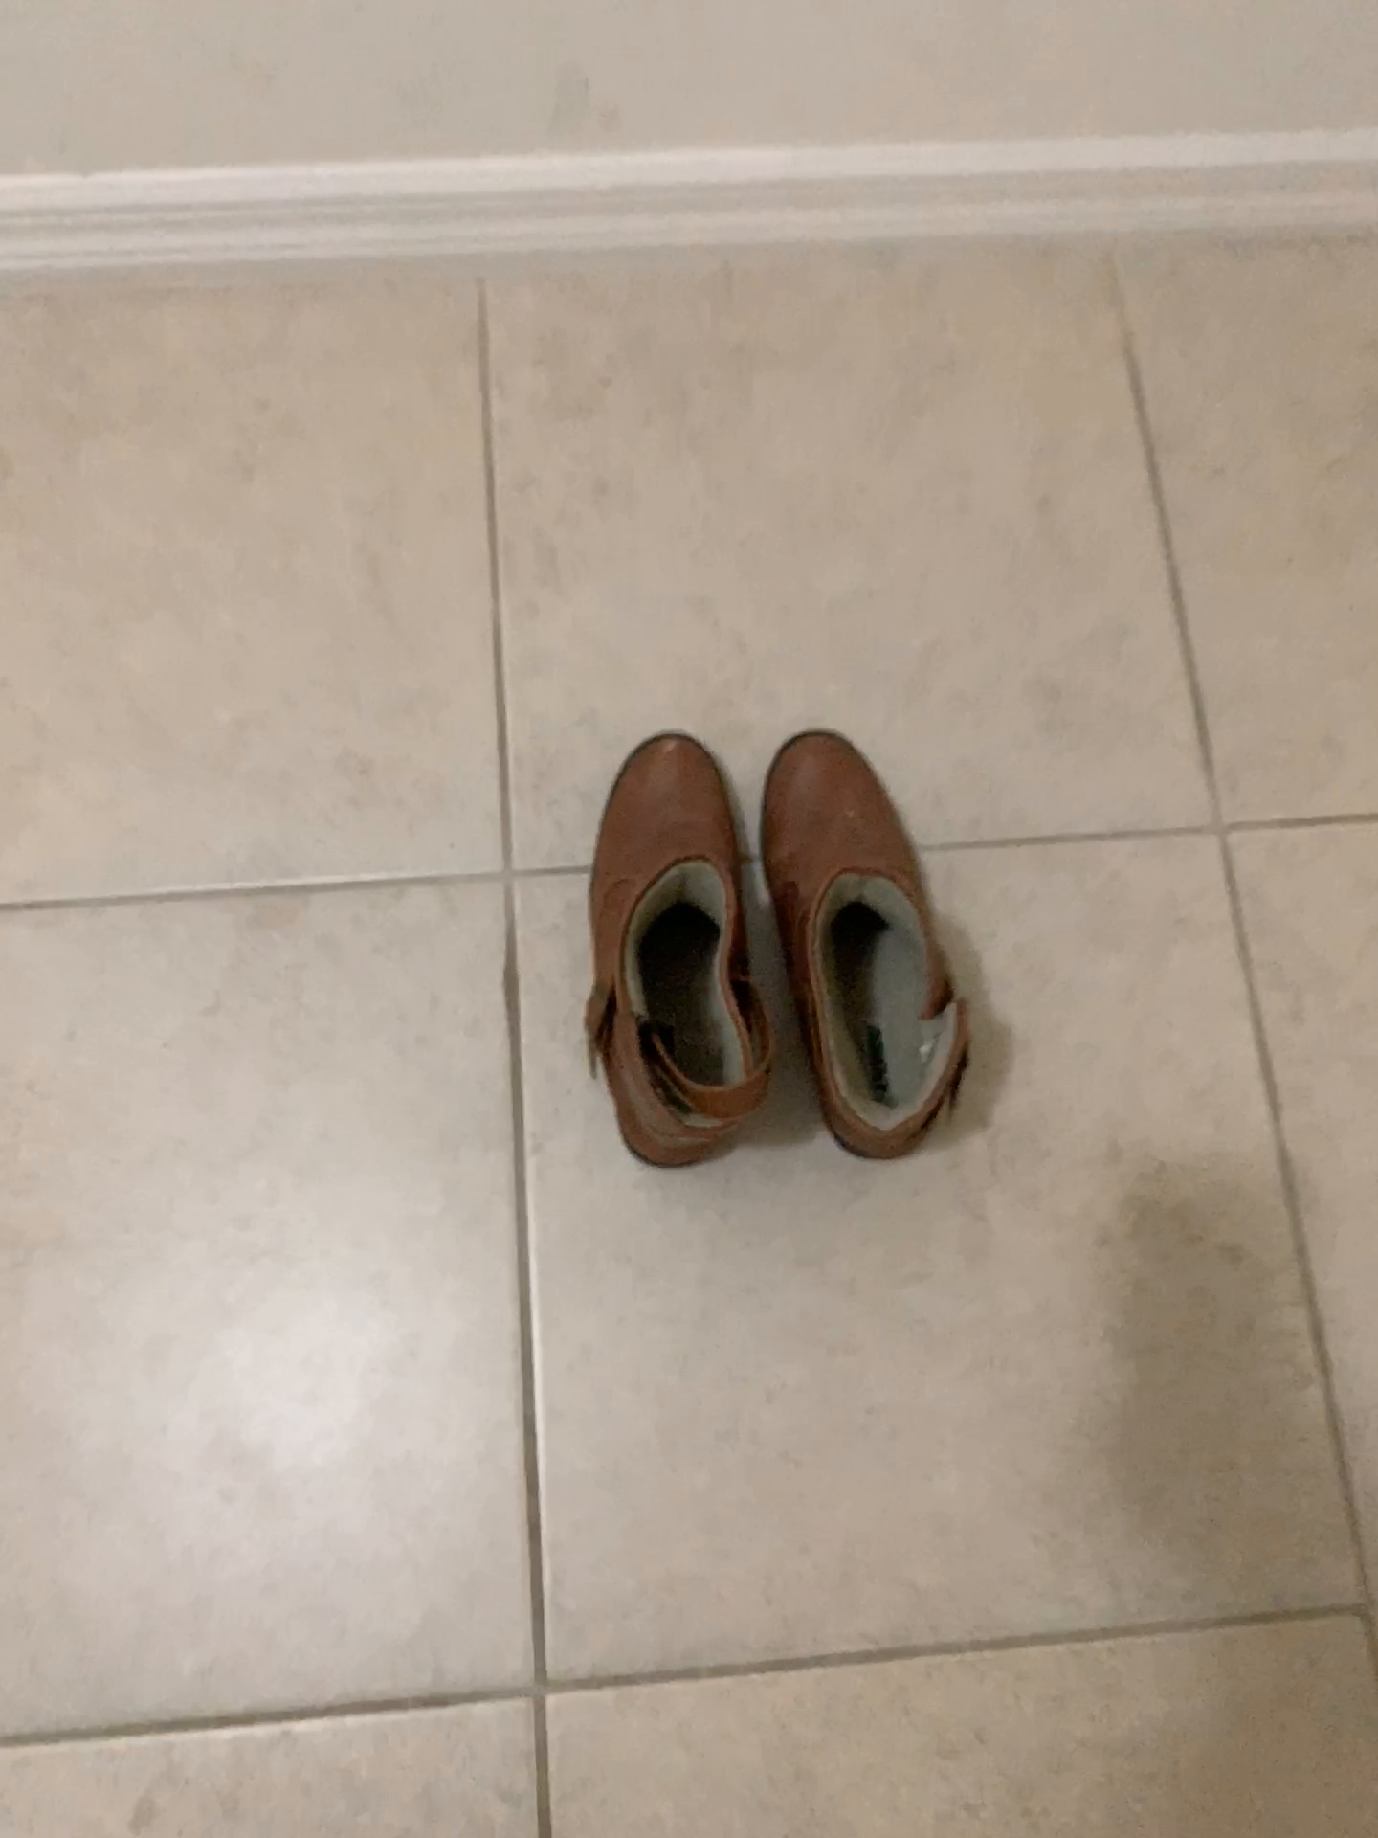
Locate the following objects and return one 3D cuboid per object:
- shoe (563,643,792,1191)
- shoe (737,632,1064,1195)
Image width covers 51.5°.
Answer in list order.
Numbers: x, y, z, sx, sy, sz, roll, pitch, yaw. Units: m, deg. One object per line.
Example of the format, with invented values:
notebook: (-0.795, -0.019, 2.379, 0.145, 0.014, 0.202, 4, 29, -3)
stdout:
shoe: (-0.010, 0.009, 0.767, 0.094, 0.193, 0.247, -3, 74, -2)
shoe: (0.103, 0.006, 0.781, 0.107, 0.173, 0.260, -7, 74, -3)
